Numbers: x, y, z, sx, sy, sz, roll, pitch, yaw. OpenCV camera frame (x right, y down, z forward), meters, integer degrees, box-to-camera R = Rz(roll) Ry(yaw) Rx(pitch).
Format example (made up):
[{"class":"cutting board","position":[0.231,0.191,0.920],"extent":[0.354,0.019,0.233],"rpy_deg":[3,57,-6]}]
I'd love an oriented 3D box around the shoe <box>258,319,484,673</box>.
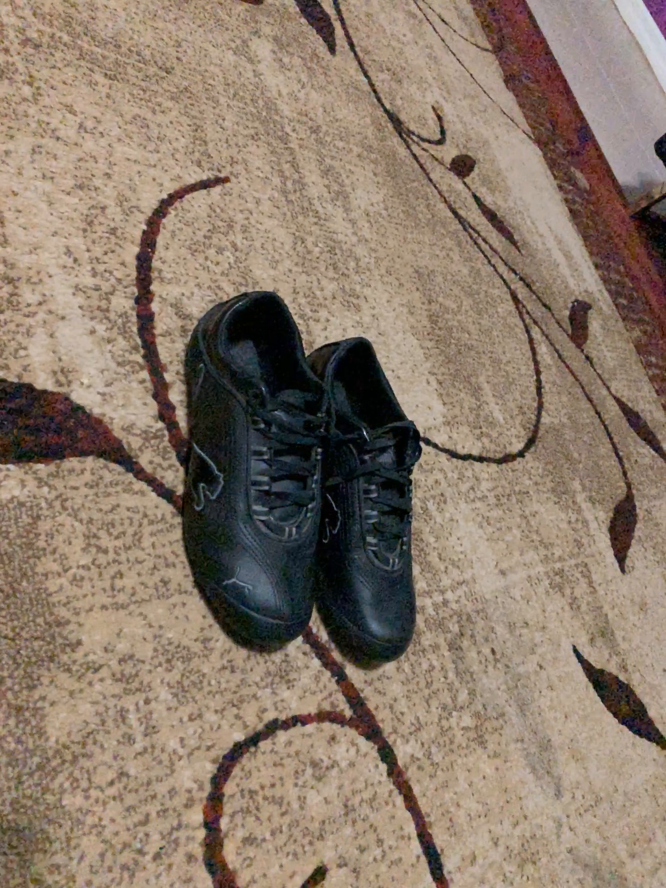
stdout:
[{"class":"shoe","position":[0.023,0.035,0.519],"extent":[0.088,0.073,0.244],"rpy_deg":[4,63,-41]}]

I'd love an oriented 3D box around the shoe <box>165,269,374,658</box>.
[{"class":"shoe","position":[-0.051,0.011,0.469],"extent":[0.086,0.073,0.244],"rpy_deg":[9,60,-39]}]
